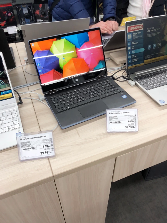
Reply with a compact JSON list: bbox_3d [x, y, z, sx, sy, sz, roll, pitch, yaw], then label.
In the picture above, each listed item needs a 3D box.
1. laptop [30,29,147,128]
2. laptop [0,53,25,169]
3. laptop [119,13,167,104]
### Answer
[{"bbox_3d":[-0.002,-0.160,0.758,0.326,0.194,0.327,-19,46,-19],"label":"laptop"},{"bbox_3d":[-0.404,-0.031,0.630,0.292,0.171,0.324,-16,46,-19],"label":"laptop"},{"bbox_3d":[0.418,-0.260,0.829,0.351,0.218,0.330,-16,45,-16],"label":"laptop"}]
